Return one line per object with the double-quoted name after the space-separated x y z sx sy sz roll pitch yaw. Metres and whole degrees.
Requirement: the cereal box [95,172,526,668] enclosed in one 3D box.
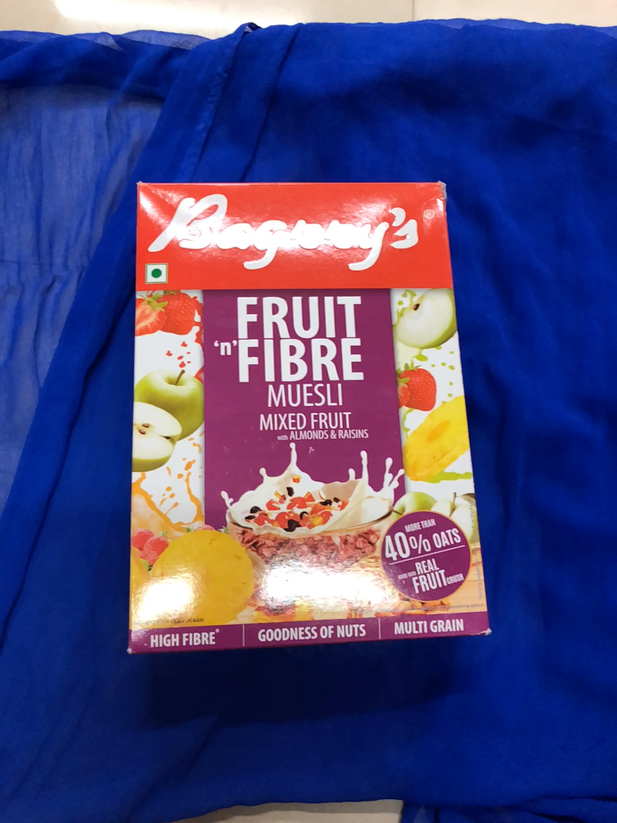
-0.005 0.000 0.383 0.200 0.080 0.250 -1 77 -5 "cereal box"
